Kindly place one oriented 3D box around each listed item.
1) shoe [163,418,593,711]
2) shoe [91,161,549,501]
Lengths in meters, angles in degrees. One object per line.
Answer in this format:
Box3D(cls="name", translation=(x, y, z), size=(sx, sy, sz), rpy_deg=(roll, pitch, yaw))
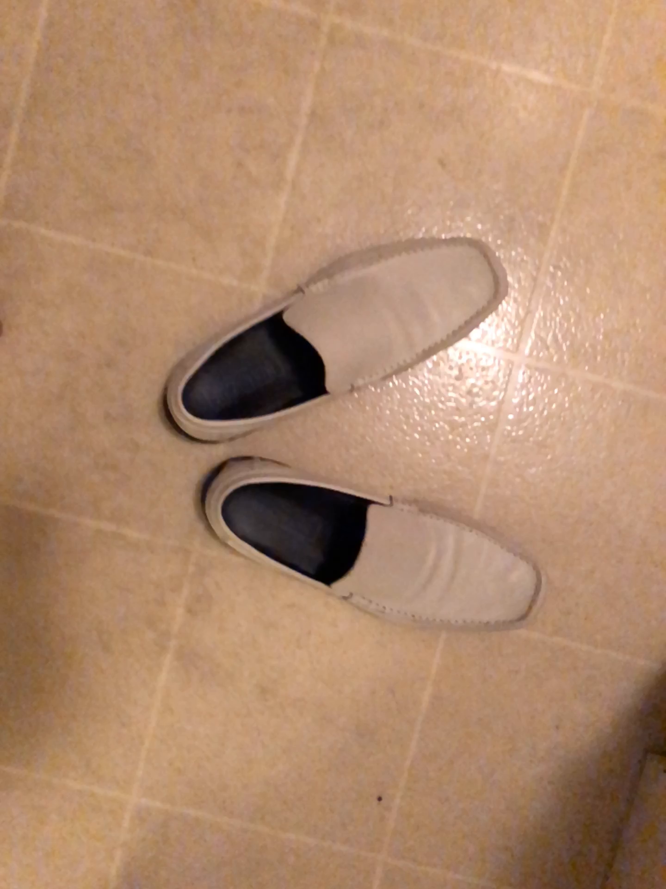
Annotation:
Box3D(cls="shoe", translation=(0.032, 0.086, 0.575), size=(0.289, 0.097, 0.110), rpy_deg=(22, 93, -2))
Box3D(cls="shoe", translation=(-0.010, -0.082, 0.564), size=(0.306, 0.097, 0.110), rpy_deg=(-27, 94, 1))
